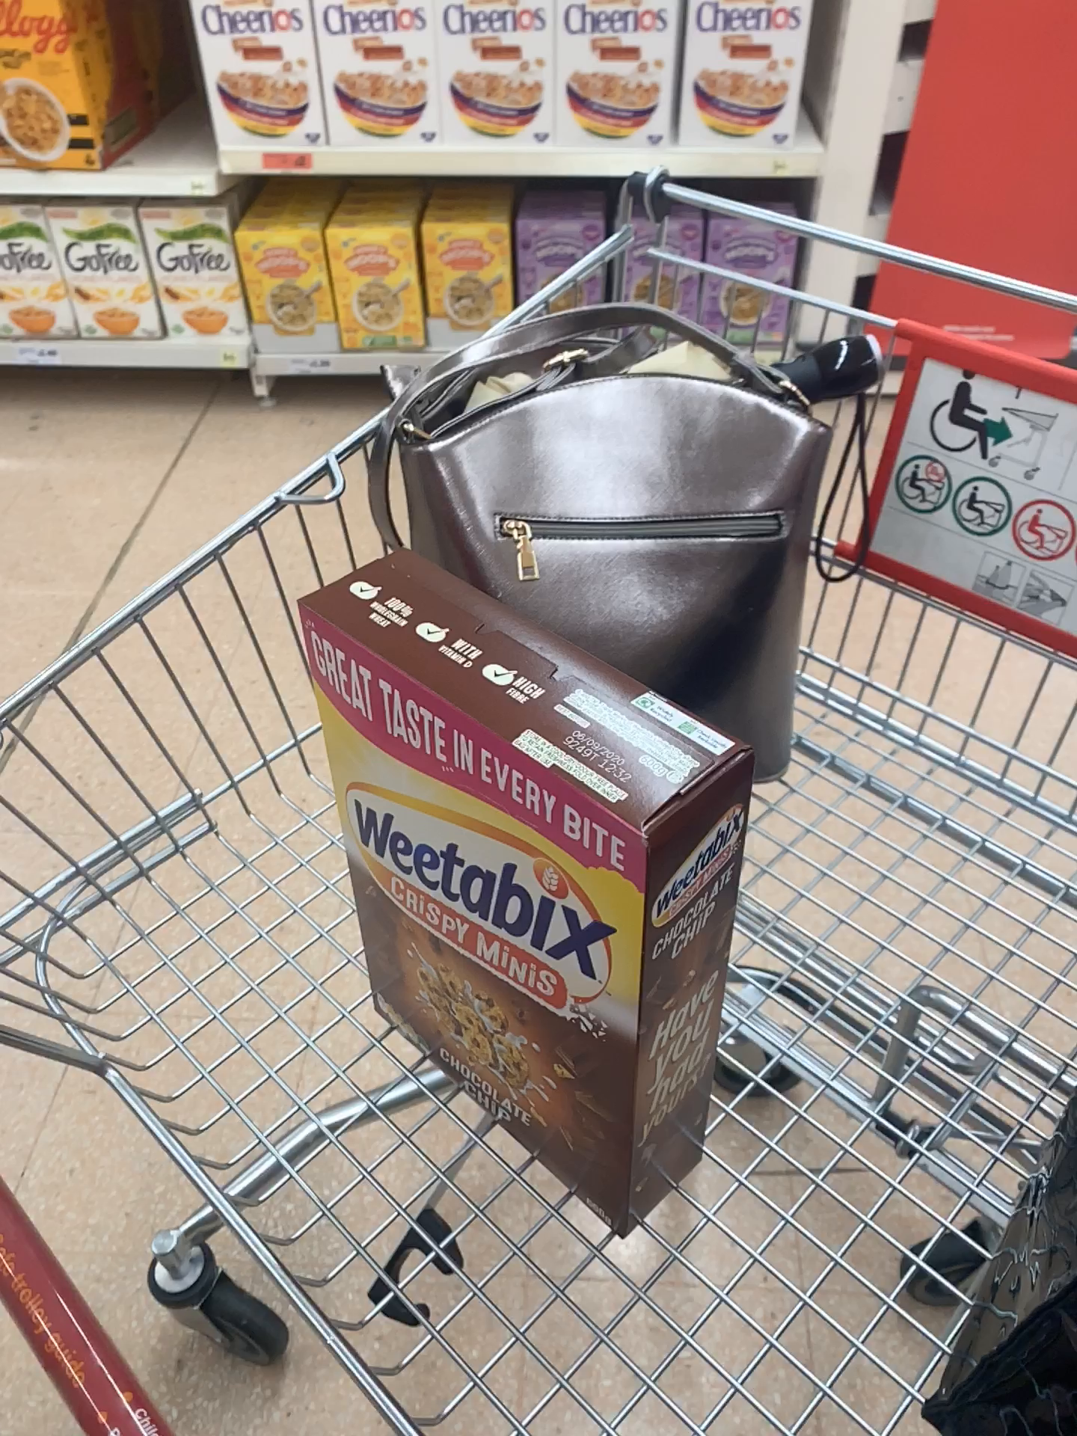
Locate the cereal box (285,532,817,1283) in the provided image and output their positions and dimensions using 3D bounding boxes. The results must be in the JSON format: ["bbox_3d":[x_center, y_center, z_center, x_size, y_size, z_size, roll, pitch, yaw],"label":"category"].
[{"bbox_3d":[-0.002,0.104,0.530,0.211,0.327,0.070,32,51,31],"label":"cereal box"}]
